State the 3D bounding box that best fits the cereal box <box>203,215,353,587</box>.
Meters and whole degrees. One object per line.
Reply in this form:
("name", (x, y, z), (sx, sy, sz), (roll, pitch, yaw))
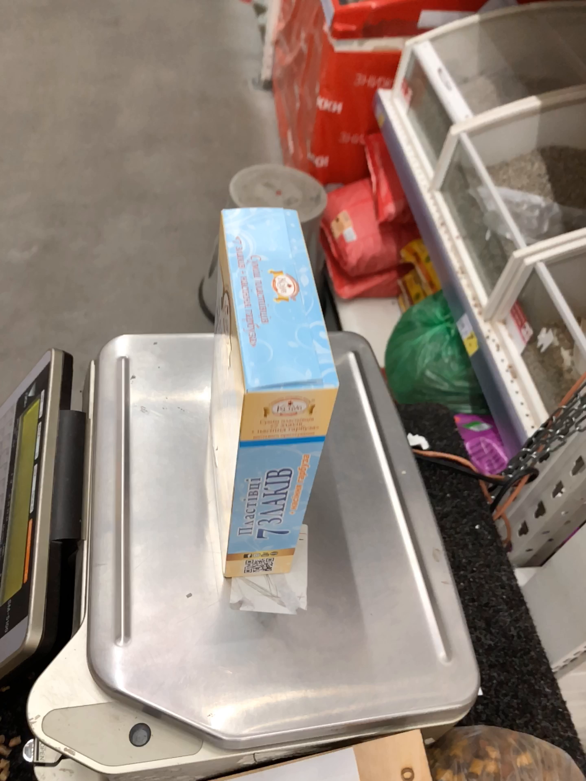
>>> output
("cereal box", (-0.026, 0.017, 0.471), (0.060, 0.228, 0.161), (-3, 51, -12))
